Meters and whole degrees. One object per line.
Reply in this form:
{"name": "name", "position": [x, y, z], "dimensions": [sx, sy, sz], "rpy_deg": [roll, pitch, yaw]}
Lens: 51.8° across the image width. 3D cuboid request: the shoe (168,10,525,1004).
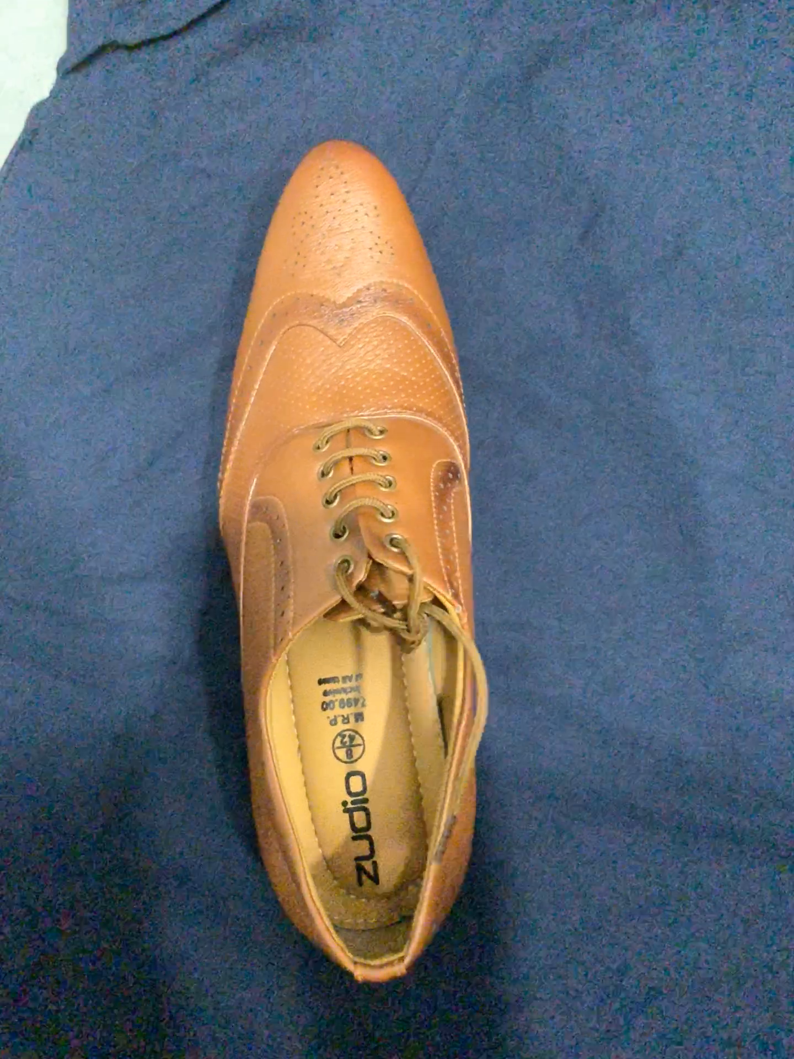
{"name": "shoe", "position": [-0.020, -0.013, 0.310], "dimensions": [0.100, 0.090, 0.320], "rpy_deg": [-3, 83, 0]}
